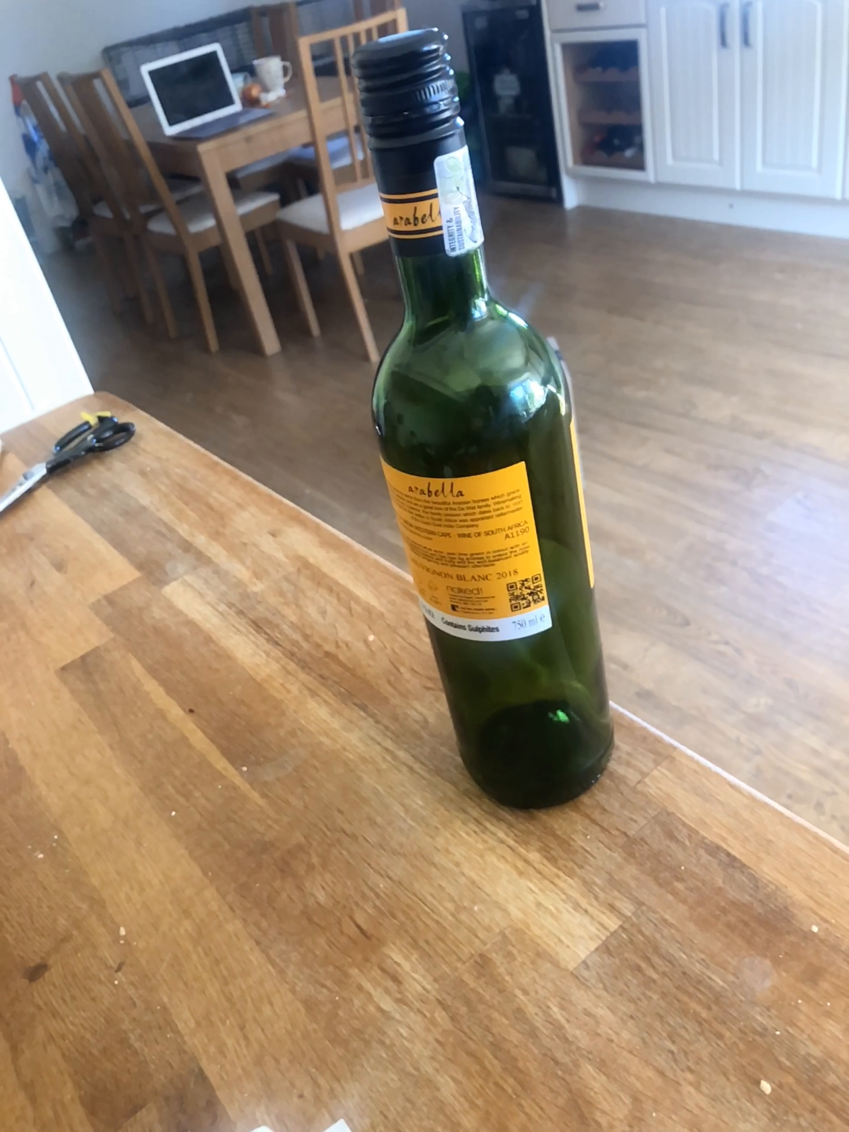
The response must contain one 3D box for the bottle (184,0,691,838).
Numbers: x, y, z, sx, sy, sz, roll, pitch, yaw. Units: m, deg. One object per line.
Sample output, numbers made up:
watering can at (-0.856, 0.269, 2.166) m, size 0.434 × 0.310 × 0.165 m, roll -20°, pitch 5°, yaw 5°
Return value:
bottle at (0.026, -0.050, 0.337) m, size 0.090 × 0.298 × 0.091 m, roll -9°, pitch 34°, yaw 6°
